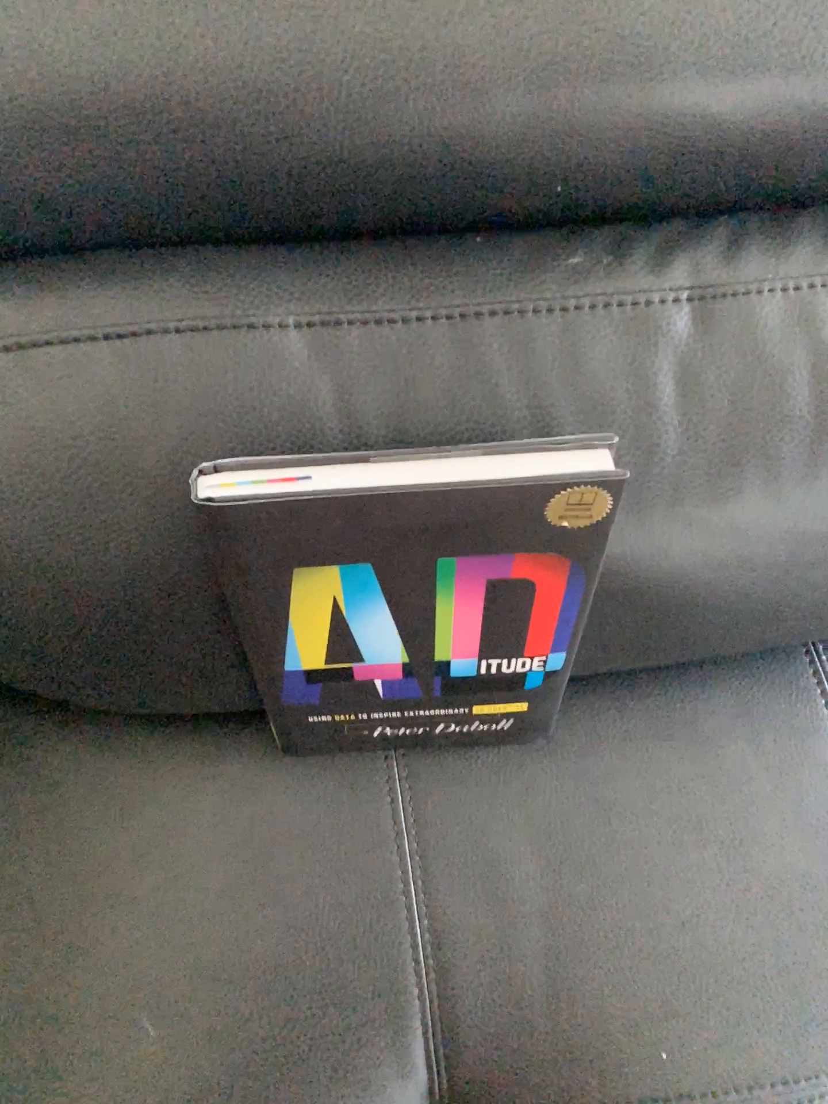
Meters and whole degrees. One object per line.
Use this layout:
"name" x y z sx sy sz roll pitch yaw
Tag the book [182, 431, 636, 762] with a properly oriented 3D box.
"book" 0.000 0.038 0.403 0.160 0.235 0.025 -3 54 -1
